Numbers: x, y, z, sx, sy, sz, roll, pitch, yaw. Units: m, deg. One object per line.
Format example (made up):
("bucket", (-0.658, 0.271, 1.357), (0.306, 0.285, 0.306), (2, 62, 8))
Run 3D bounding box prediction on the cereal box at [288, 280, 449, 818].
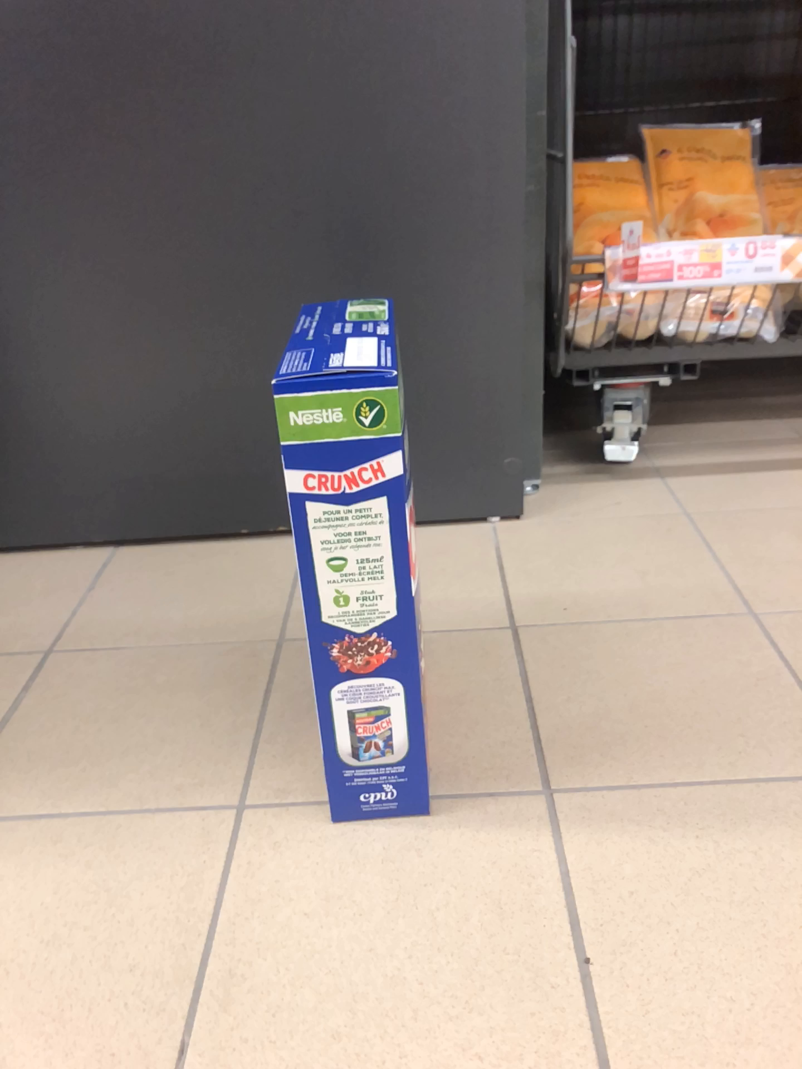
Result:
("cereal box", (-0.014, 0.002, 0.572), (0.070, 0.288, 0.191), (-3, 26, 0))
